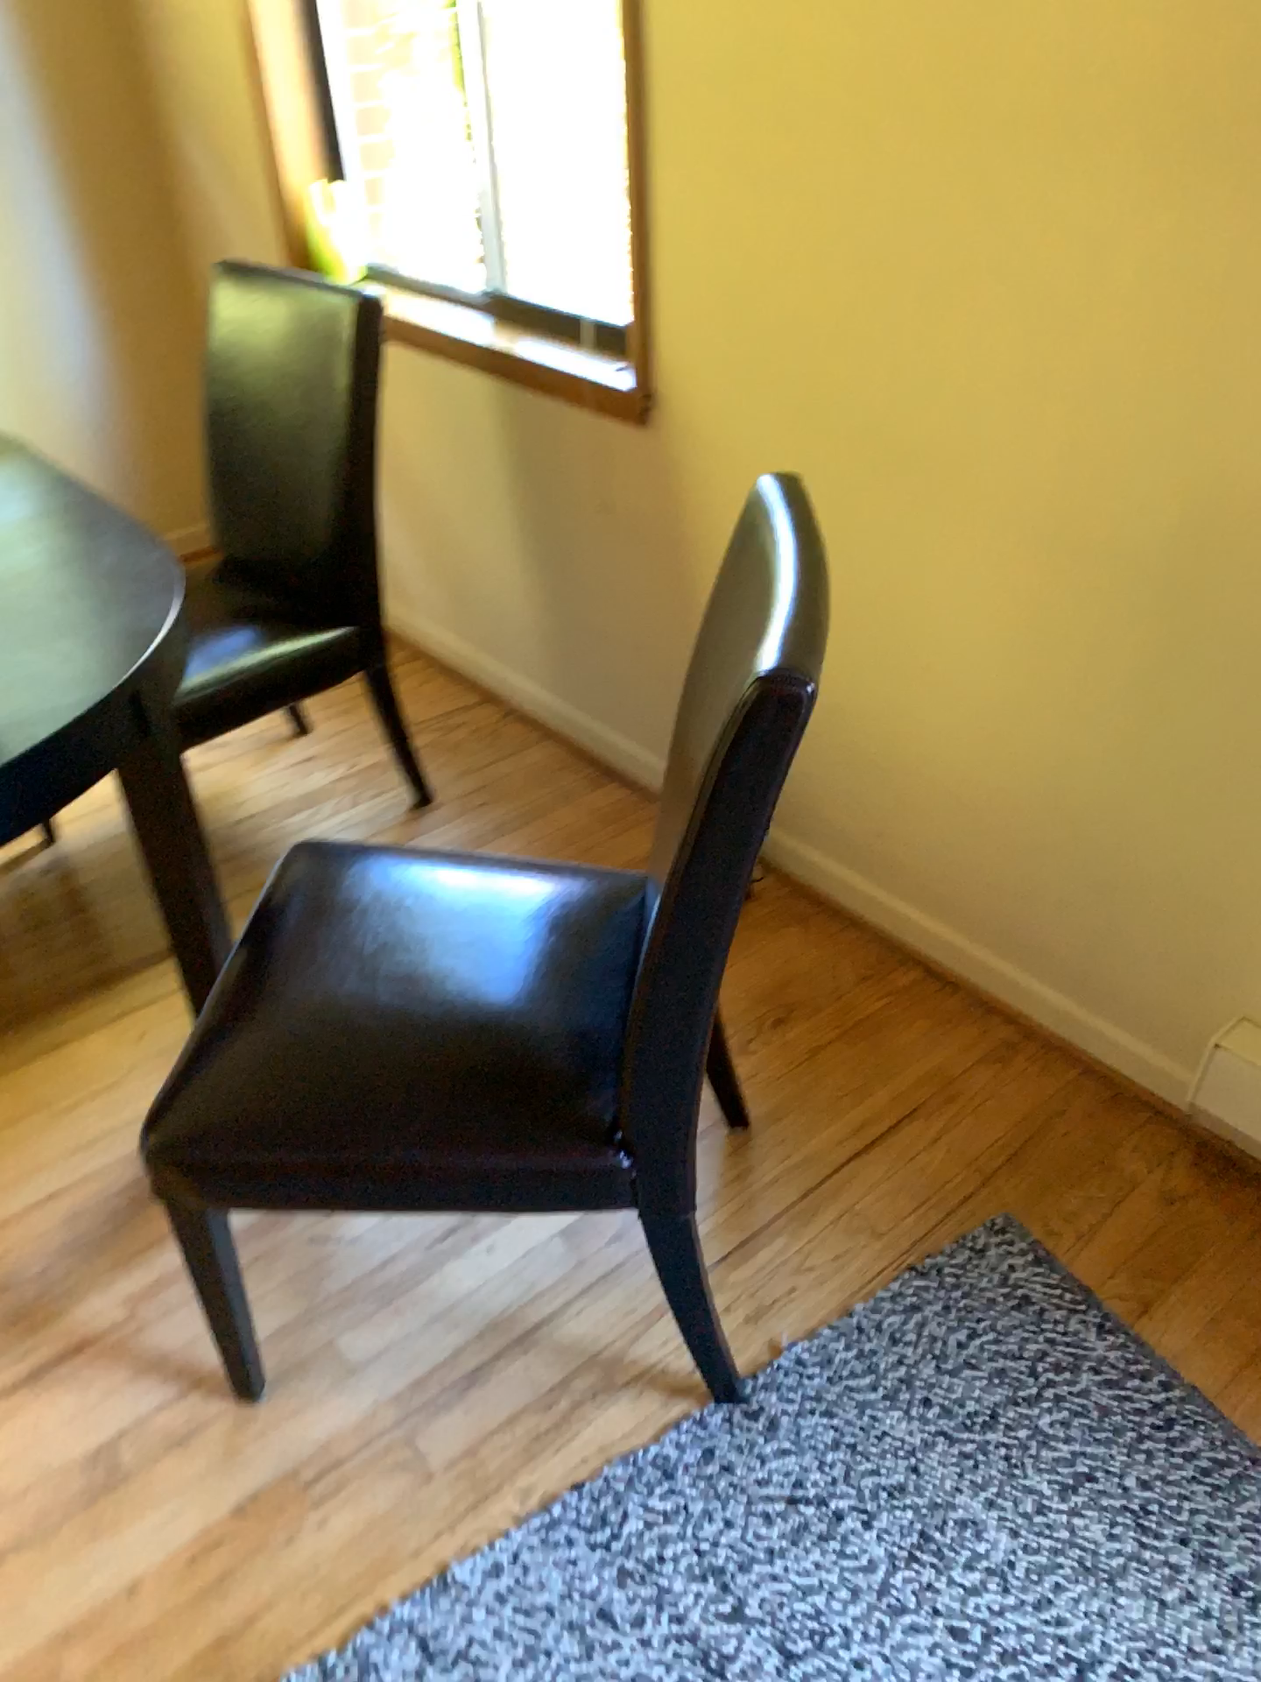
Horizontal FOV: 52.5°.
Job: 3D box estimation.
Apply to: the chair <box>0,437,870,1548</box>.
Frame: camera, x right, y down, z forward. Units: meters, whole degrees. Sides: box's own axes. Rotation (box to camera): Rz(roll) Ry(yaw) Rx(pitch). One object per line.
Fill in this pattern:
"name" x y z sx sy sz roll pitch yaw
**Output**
"chair" -0.120 0.192 1.448 0.650 1.083 0.624 0 35 5
